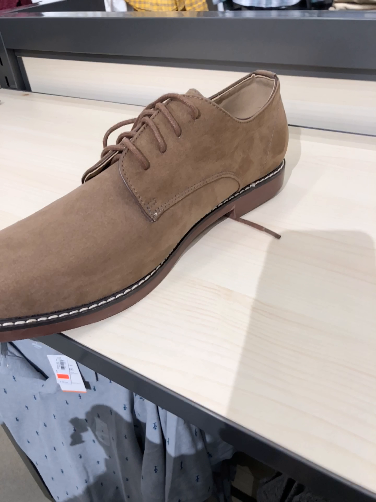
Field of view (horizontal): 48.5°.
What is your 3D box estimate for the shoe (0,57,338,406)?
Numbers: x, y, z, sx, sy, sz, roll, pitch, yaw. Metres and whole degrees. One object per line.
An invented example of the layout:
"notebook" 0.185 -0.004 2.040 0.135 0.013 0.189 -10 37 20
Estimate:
"shoe" -0.031 -0.048 0.316 0.300 0.110 0.120 -31 44 -30
